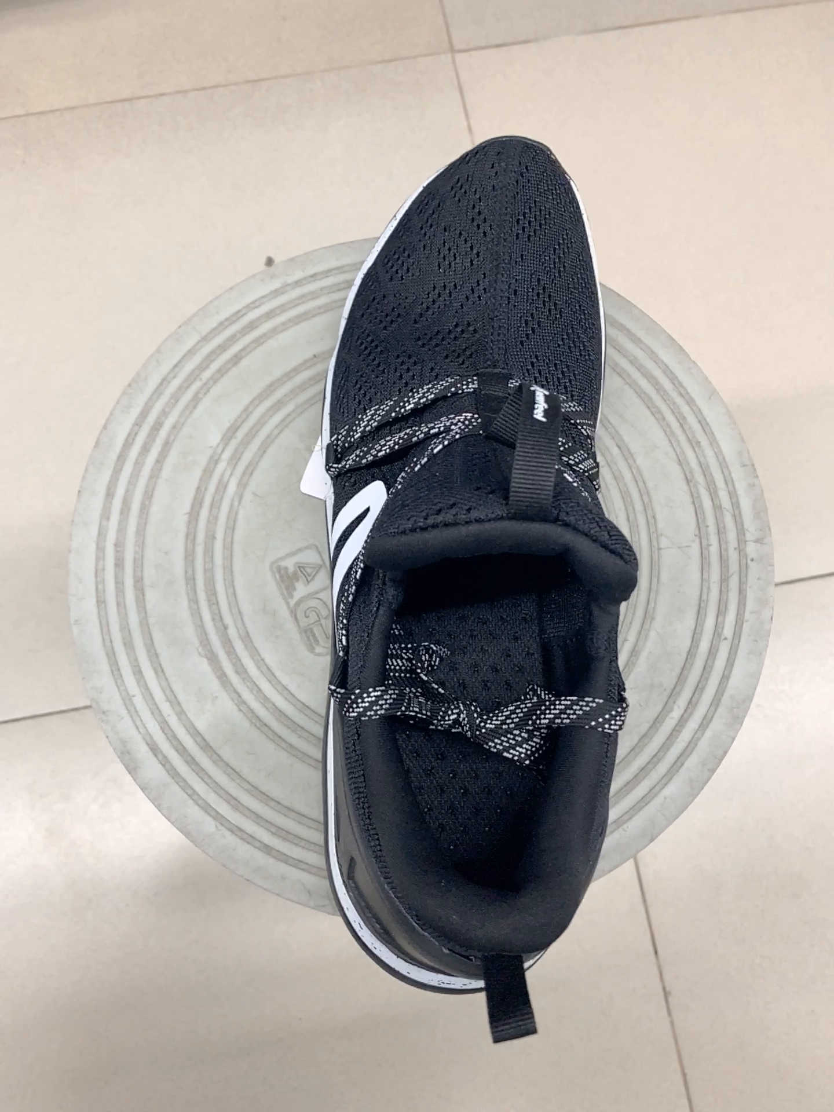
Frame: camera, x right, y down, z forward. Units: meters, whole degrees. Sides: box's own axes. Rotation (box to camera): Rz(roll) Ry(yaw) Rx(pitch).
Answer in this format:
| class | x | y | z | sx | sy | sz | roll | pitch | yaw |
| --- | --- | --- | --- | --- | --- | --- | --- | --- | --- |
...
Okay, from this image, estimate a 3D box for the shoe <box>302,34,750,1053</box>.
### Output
| class | x | y | z | sx | sy | sz | roll | pitch | yaw |
| --- | --- | --- | --- | --- | --- | --- | --- | --- | --- |
| shoe | 0.027 | -0.015 | 0.278 | 0.100 | 0.090 | 0.290 | 1 | 73 | 0 |
